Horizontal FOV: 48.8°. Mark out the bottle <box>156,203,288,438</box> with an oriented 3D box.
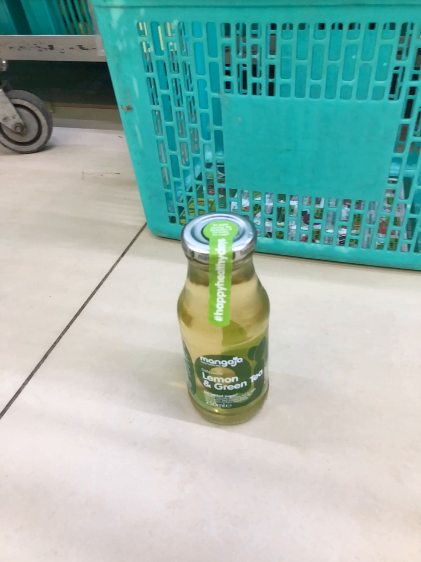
[{"bbox_3d":[0.015,0.031,0.321,0.070,0.149,0.071,-3,37,2],"label":"bottle"}]
